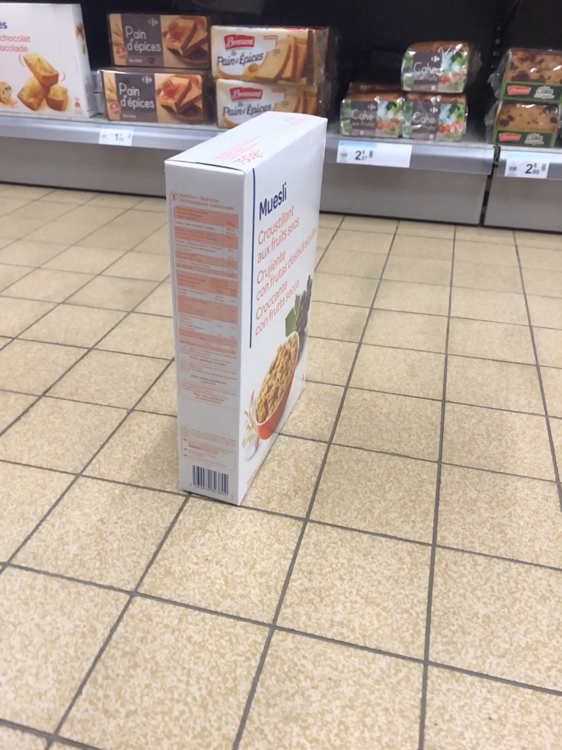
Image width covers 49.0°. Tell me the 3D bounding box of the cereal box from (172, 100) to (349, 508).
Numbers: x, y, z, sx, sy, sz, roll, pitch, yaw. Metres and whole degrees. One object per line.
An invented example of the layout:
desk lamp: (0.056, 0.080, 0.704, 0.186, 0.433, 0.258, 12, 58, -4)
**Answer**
cereal box: (-0.009, -0.065, 0.507, 0.060, 0.268, 0.201, 12, 33, 14)
